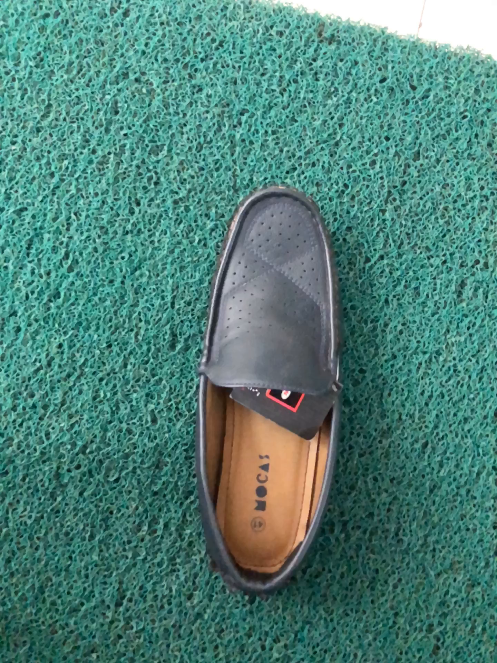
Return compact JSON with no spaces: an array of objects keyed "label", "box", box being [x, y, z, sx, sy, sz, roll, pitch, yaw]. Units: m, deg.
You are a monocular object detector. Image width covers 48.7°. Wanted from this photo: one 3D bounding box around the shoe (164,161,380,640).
[{"label":"shoe","box":[0.016,0.040,0.370,0.100,0.070,0.280,7,83,-2]}]
